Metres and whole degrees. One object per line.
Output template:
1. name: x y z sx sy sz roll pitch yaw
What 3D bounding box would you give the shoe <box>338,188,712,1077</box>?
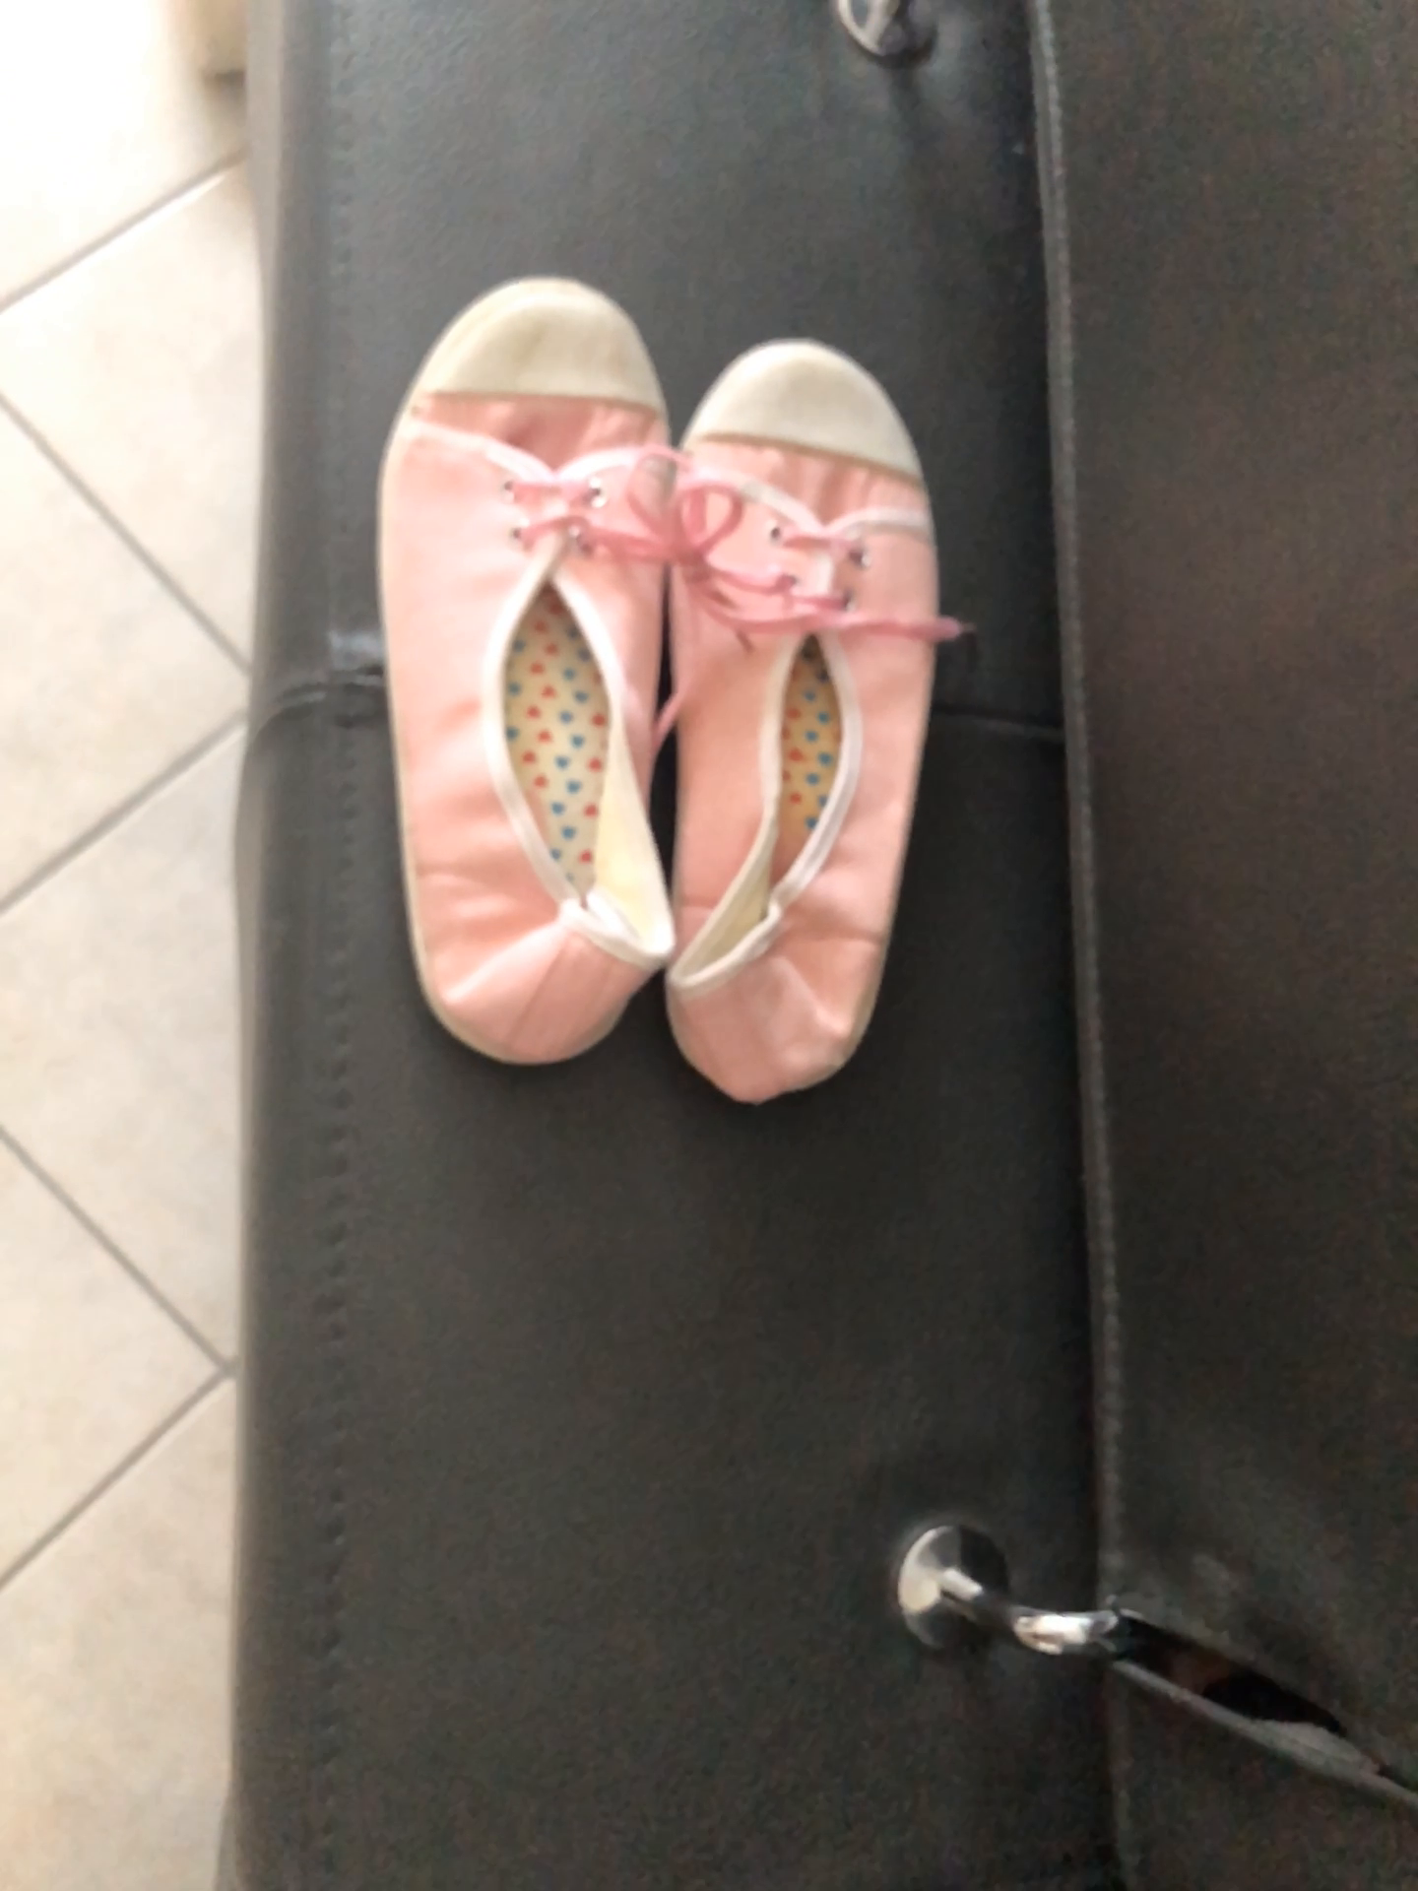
1. shoe: -0.051 -0.086 0.450 0.090 0.040 0.240 4 80 -15

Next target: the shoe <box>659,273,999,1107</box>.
1. shoe: 0.037 -0.075 0.479 0.090 0.040 0.240 4 80 -15
